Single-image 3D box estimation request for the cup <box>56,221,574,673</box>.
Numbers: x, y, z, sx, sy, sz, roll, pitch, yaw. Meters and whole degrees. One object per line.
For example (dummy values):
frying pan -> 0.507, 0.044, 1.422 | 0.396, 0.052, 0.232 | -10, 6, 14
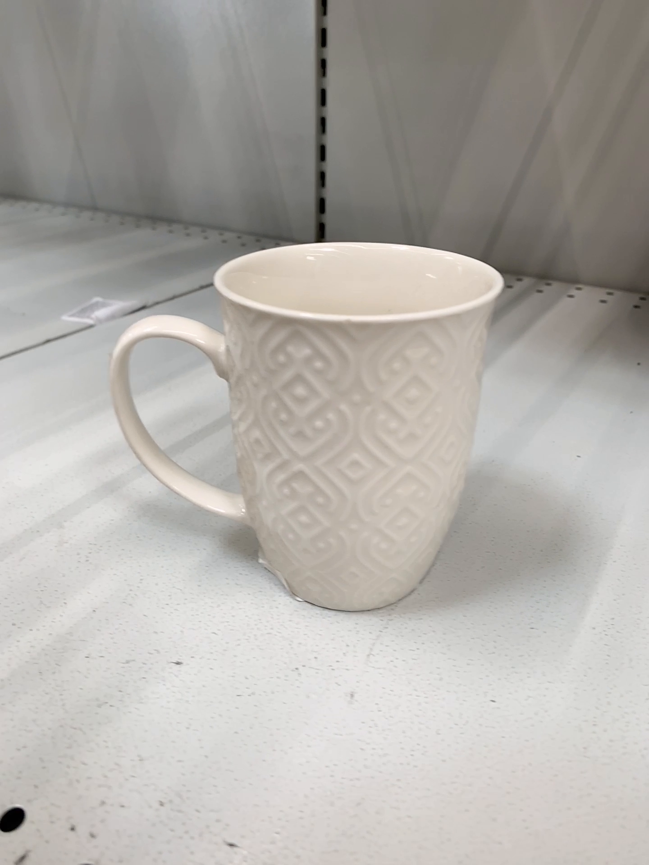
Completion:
cup -> 0.004, -0.007, 0.224 | 0.132, 0.098, 0.092 | 10, 29, 16
